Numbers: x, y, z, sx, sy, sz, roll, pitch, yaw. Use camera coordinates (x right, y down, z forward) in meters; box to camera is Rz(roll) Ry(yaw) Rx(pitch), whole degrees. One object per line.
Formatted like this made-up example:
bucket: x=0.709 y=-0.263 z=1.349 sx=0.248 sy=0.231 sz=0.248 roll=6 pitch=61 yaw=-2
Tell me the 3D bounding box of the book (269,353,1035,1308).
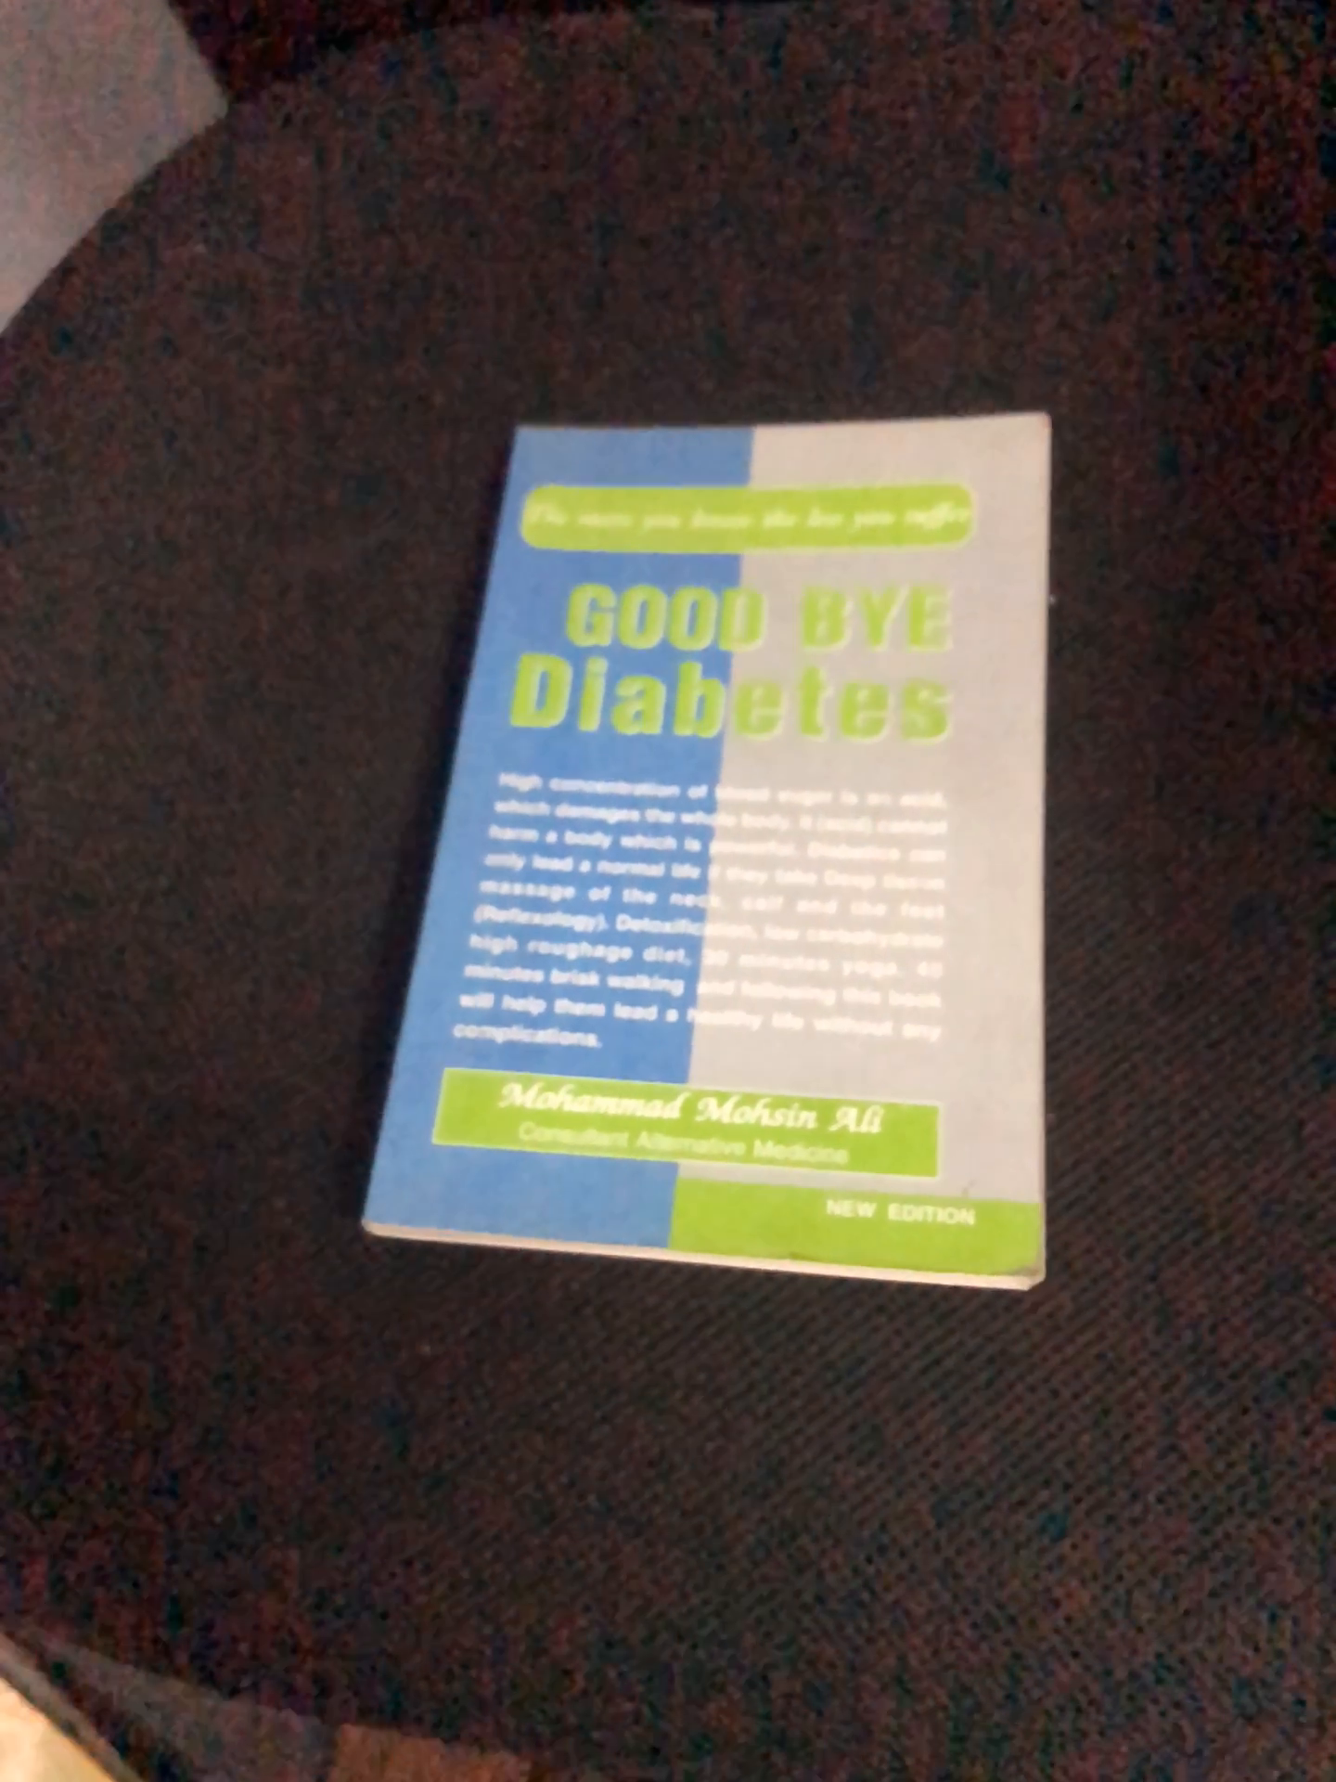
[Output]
book: x=0.007 y=-0.029 z=0.347 sx=0.150 sy=0.020 sz=0.230 roll=3 pitch=66 yaw=9
